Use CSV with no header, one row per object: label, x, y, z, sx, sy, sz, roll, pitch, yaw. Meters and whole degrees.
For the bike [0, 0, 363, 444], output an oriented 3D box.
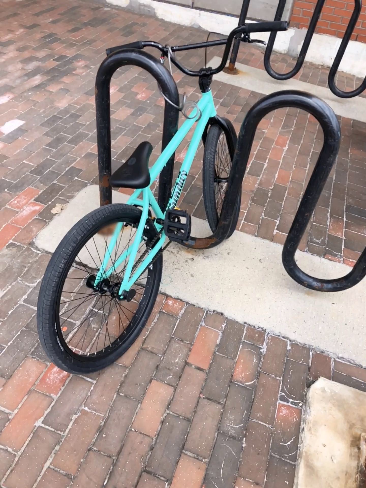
bike,-0.047,-0.301,1.556,0.810,1.067,1.471,23,47,16
